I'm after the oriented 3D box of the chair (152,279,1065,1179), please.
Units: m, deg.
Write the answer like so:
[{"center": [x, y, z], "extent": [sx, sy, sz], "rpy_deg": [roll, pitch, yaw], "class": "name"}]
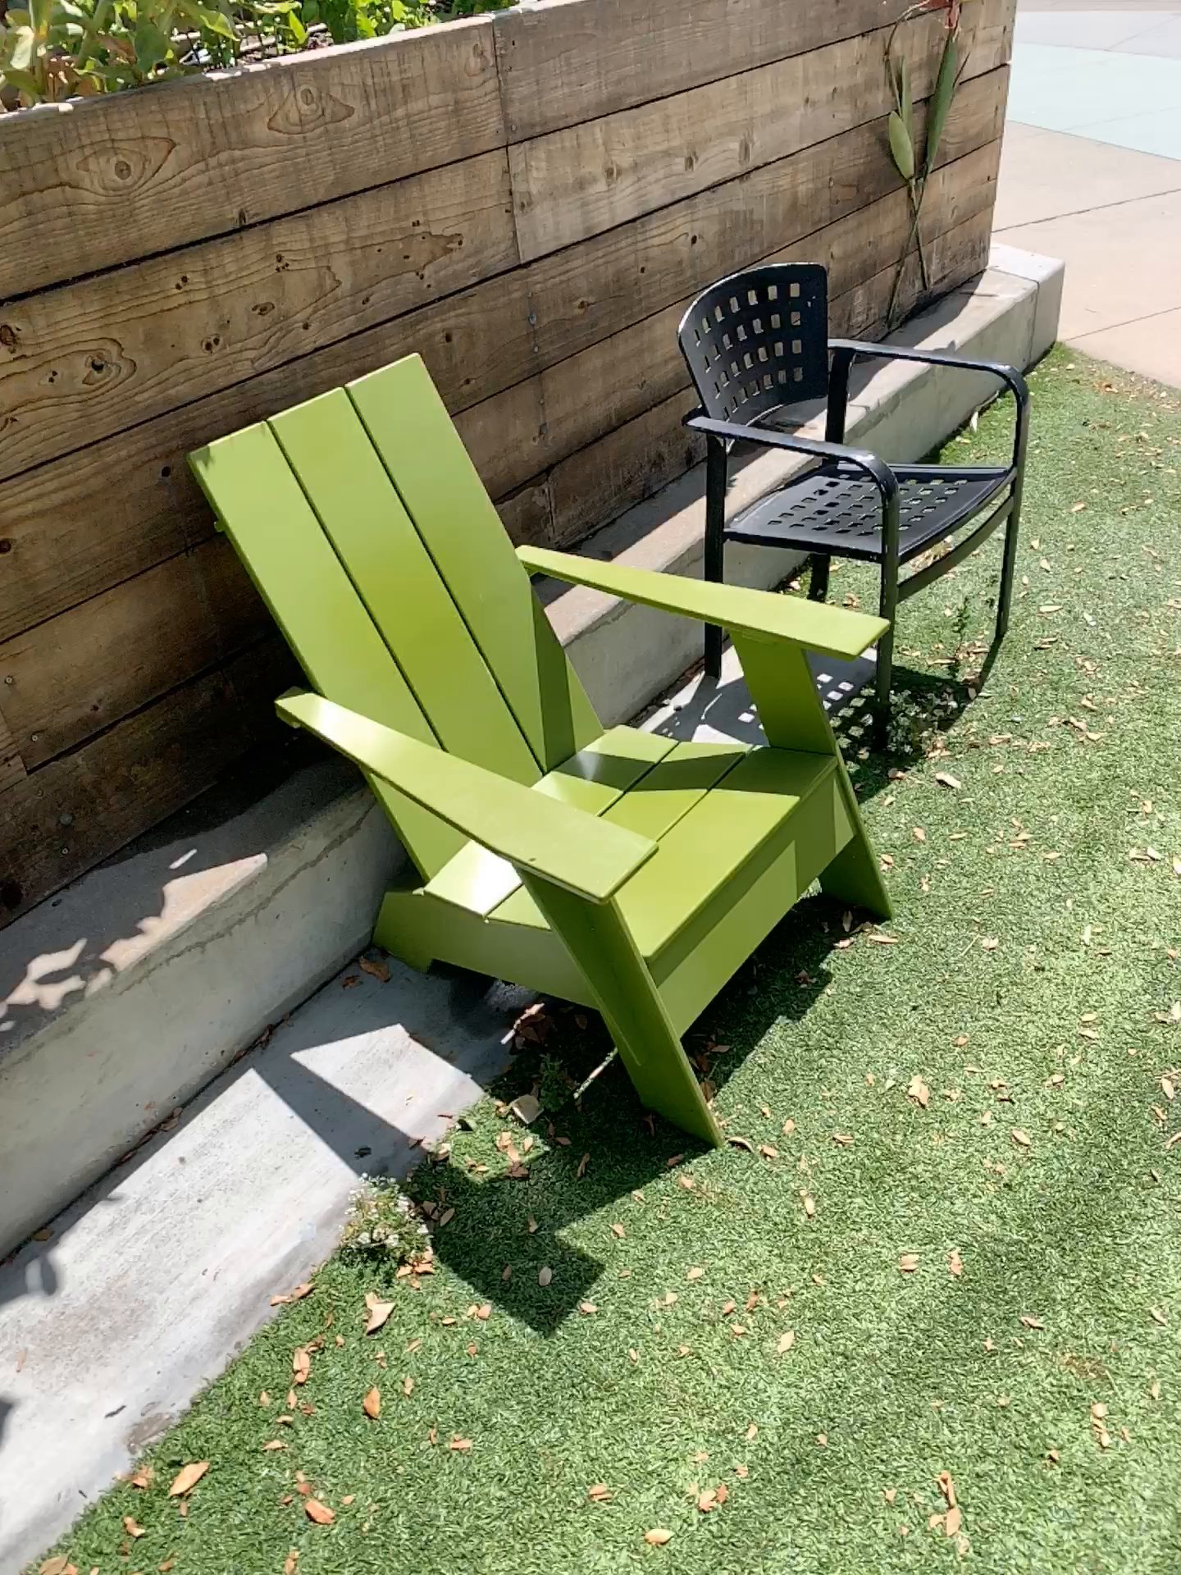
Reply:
[{"center": [0.043, -0.162, 1.773], "extent": [0.904, 0.845, 0.722], "rpy_deg": [23, 46, 32], "class": "chair"}]
